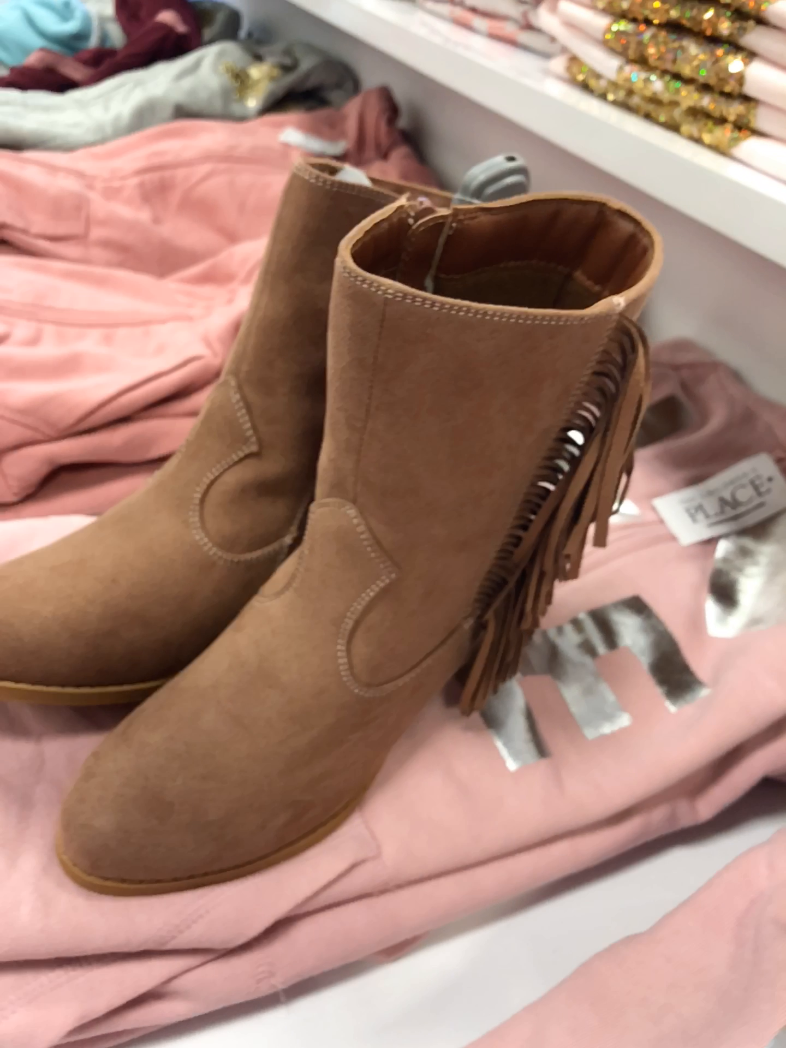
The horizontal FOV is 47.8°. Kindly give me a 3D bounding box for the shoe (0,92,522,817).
[{"bbox_3d":[-0.073,-0.036,0.332,0.092,0.199,0.200,35,37,32],"label":"shoe"}]

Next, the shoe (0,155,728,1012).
[{"bbox_3d":[-0.014,0.005,0.292,0.210,0.199,0.092,-26,48,-38],"label":"shoe"}]
